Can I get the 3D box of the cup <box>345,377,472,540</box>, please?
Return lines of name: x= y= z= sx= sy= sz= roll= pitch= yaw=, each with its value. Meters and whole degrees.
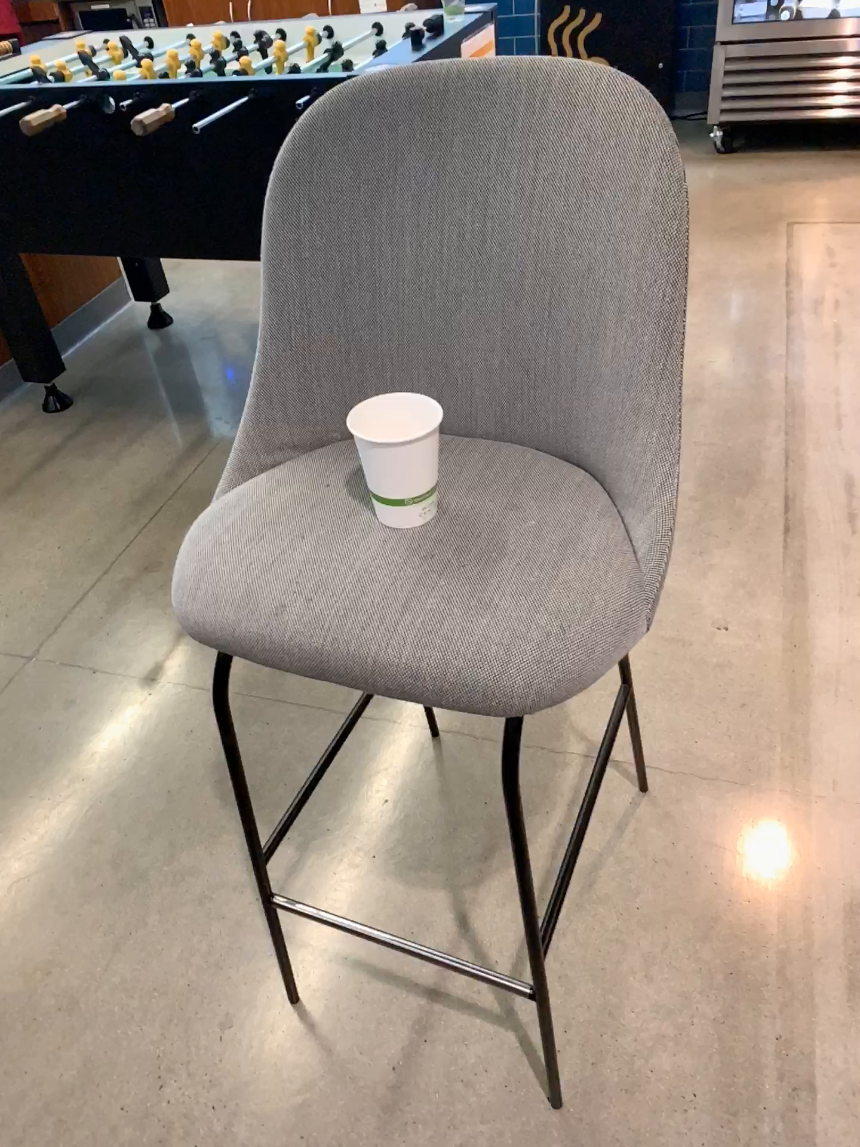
cup: x=-0.019 y=-0.105 z=0.796 sx=0.090 sy=0.099 sz=0.091 roll=-5 pitch=40 yaw=4
